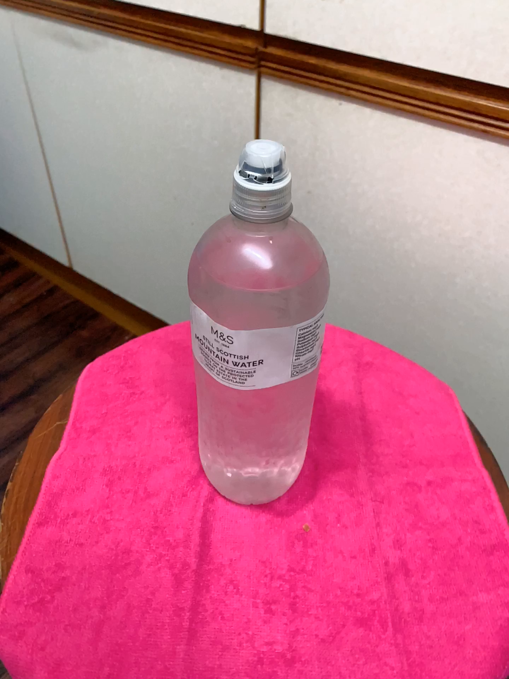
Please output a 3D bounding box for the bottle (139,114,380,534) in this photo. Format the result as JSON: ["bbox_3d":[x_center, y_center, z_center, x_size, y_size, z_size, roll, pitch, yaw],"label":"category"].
[{"bbox_3d":[0.002,0.009,0.334,0.090,0.258,0.081,17,45,15],"label":"bottle"}]
